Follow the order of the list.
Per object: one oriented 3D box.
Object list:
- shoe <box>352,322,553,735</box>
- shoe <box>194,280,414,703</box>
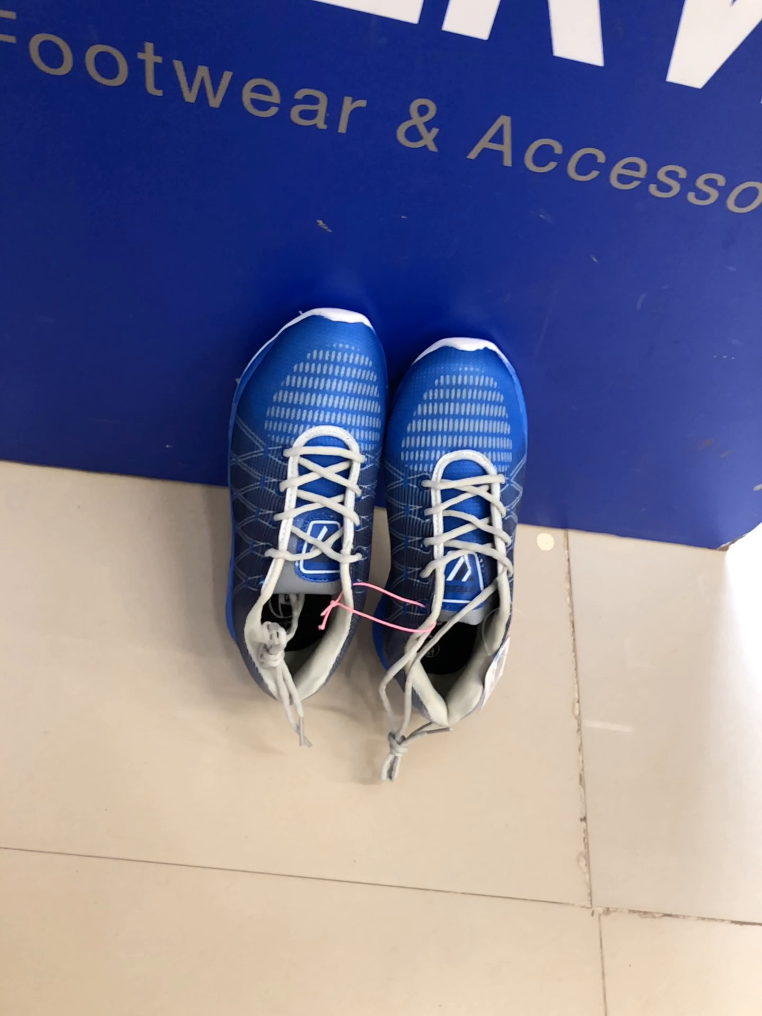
[{"bbox_3d":[0.042,0.009,0.605,0.100,0.120,0.270,3,100,-7],"label":"shoe"},{"bbox_3d":[-0.061,-0.012,0.589,0.110,0.269,0.100,5,15,-12],"label":"shoe"}]
